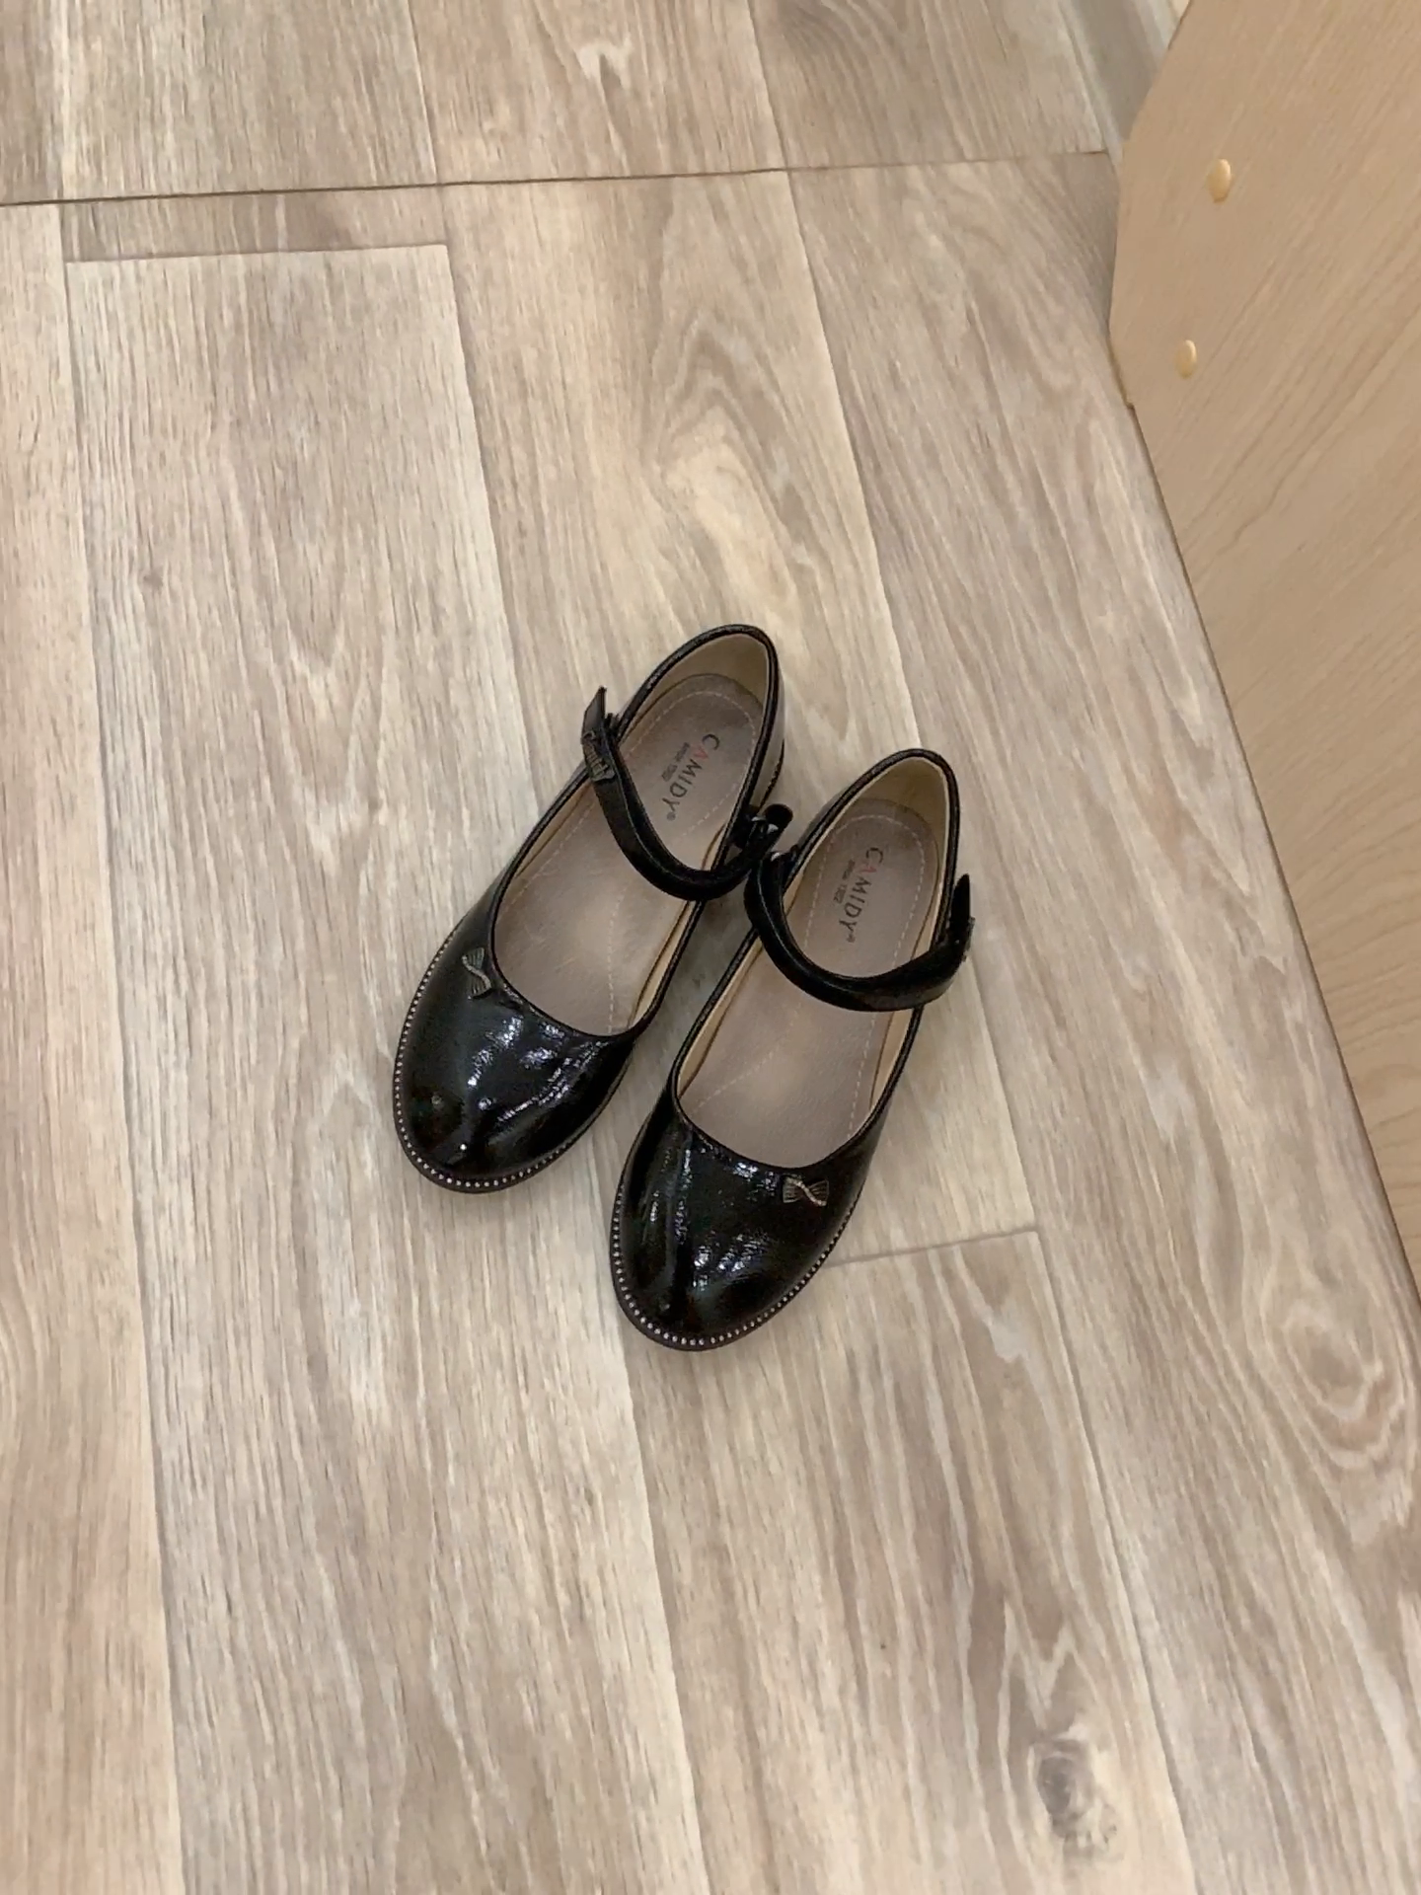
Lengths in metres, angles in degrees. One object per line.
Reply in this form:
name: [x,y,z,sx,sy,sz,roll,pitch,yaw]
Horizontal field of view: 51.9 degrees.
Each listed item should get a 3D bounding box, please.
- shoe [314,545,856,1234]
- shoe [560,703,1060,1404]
shoe: [-0.046,-0.022,0.593,0.090,0.100,0.250,29,72,2]
shoe: [0.038,0.044,0.585,0.090,0.100,0.250,26,71,1]
